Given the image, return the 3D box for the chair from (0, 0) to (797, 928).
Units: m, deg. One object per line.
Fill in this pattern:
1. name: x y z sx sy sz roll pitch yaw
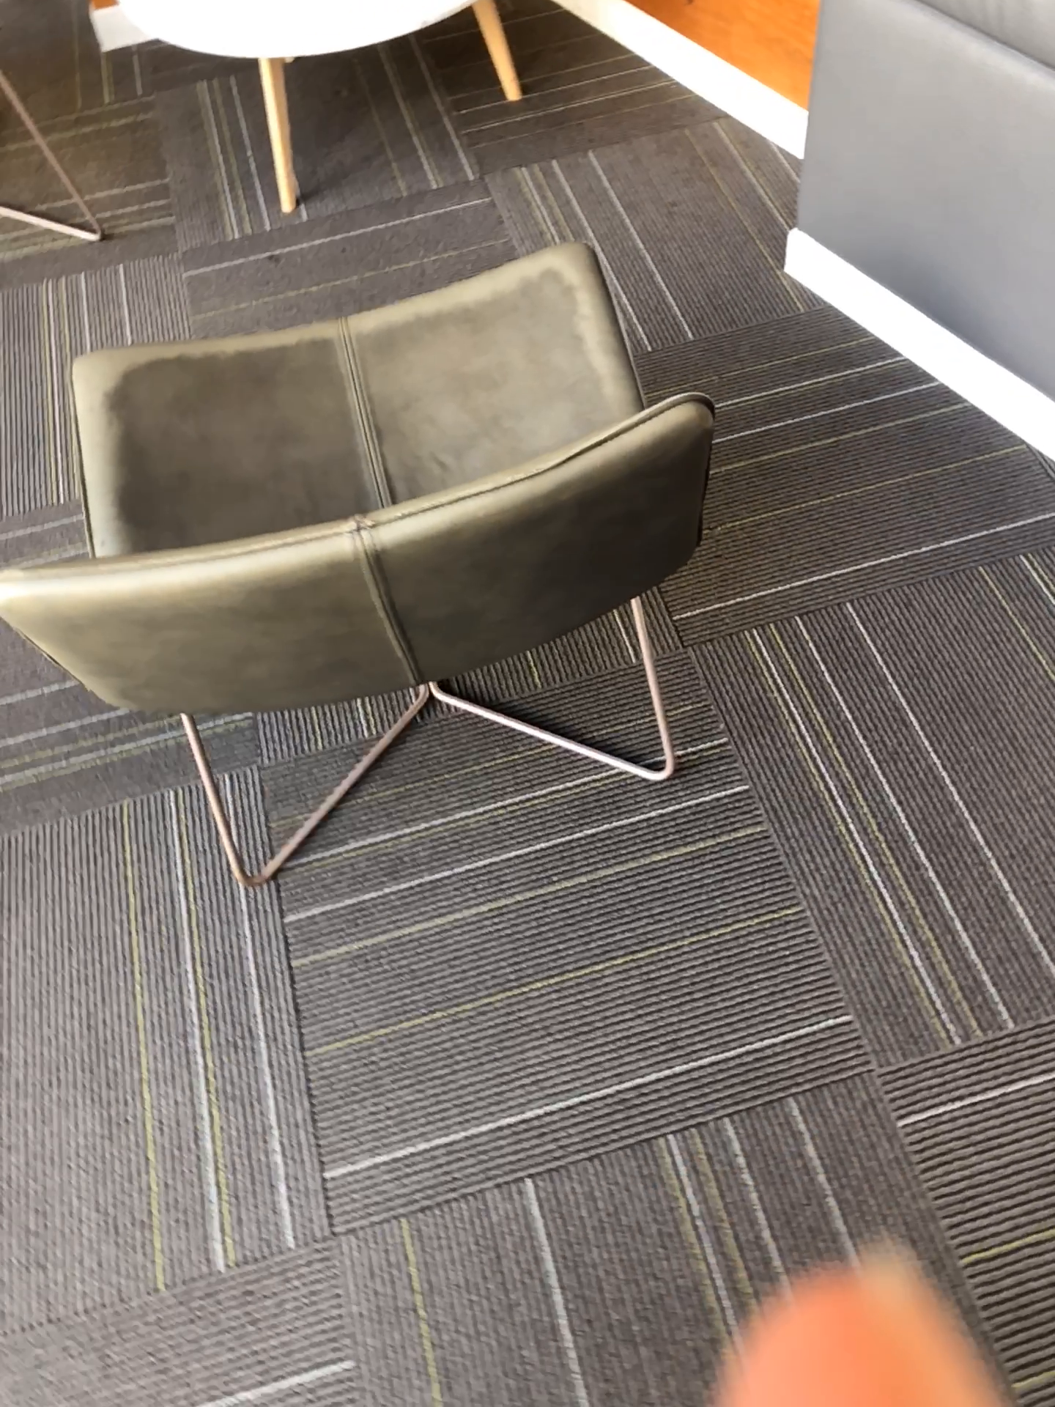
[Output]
1. chair: -0.193 -0.272 1.323 0.670 0.878 0.652 -14 61 -4
